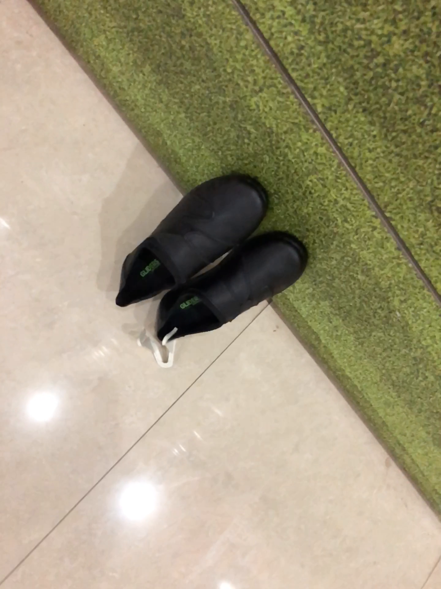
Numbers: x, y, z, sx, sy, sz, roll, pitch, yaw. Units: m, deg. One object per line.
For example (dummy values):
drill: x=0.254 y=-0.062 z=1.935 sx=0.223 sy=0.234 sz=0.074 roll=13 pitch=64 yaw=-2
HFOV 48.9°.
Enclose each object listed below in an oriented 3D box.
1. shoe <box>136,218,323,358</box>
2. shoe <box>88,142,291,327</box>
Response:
shoe: x=0.006 y=-0.002 z=0.616 sx=0.074 sy=0.228 sz=0.067 roll=55 pitch=34 yaw=-12
shoe: x=-0.041 y=-0.073 z=0.628 sx=0.087 sy=0.248 sz=0.107 roll=49 pitch=29 yaw=-13
